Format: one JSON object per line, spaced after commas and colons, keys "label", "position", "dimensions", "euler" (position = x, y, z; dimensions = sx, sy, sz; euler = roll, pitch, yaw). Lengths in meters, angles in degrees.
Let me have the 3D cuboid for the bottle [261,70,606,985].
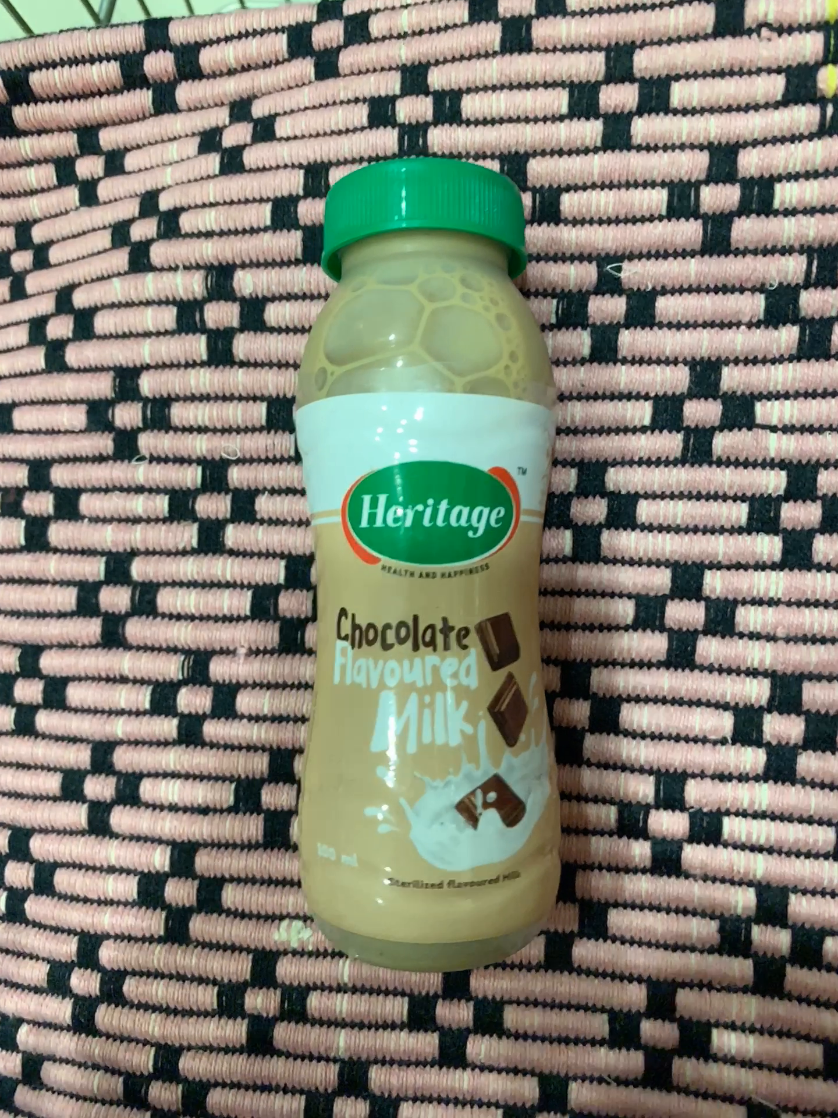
{"label": "bottle", "position": [0.003, -0.006, 0.158], "dimensions": [0.050, 0.050, 0.140], "euler": [1, 84, 0]}
